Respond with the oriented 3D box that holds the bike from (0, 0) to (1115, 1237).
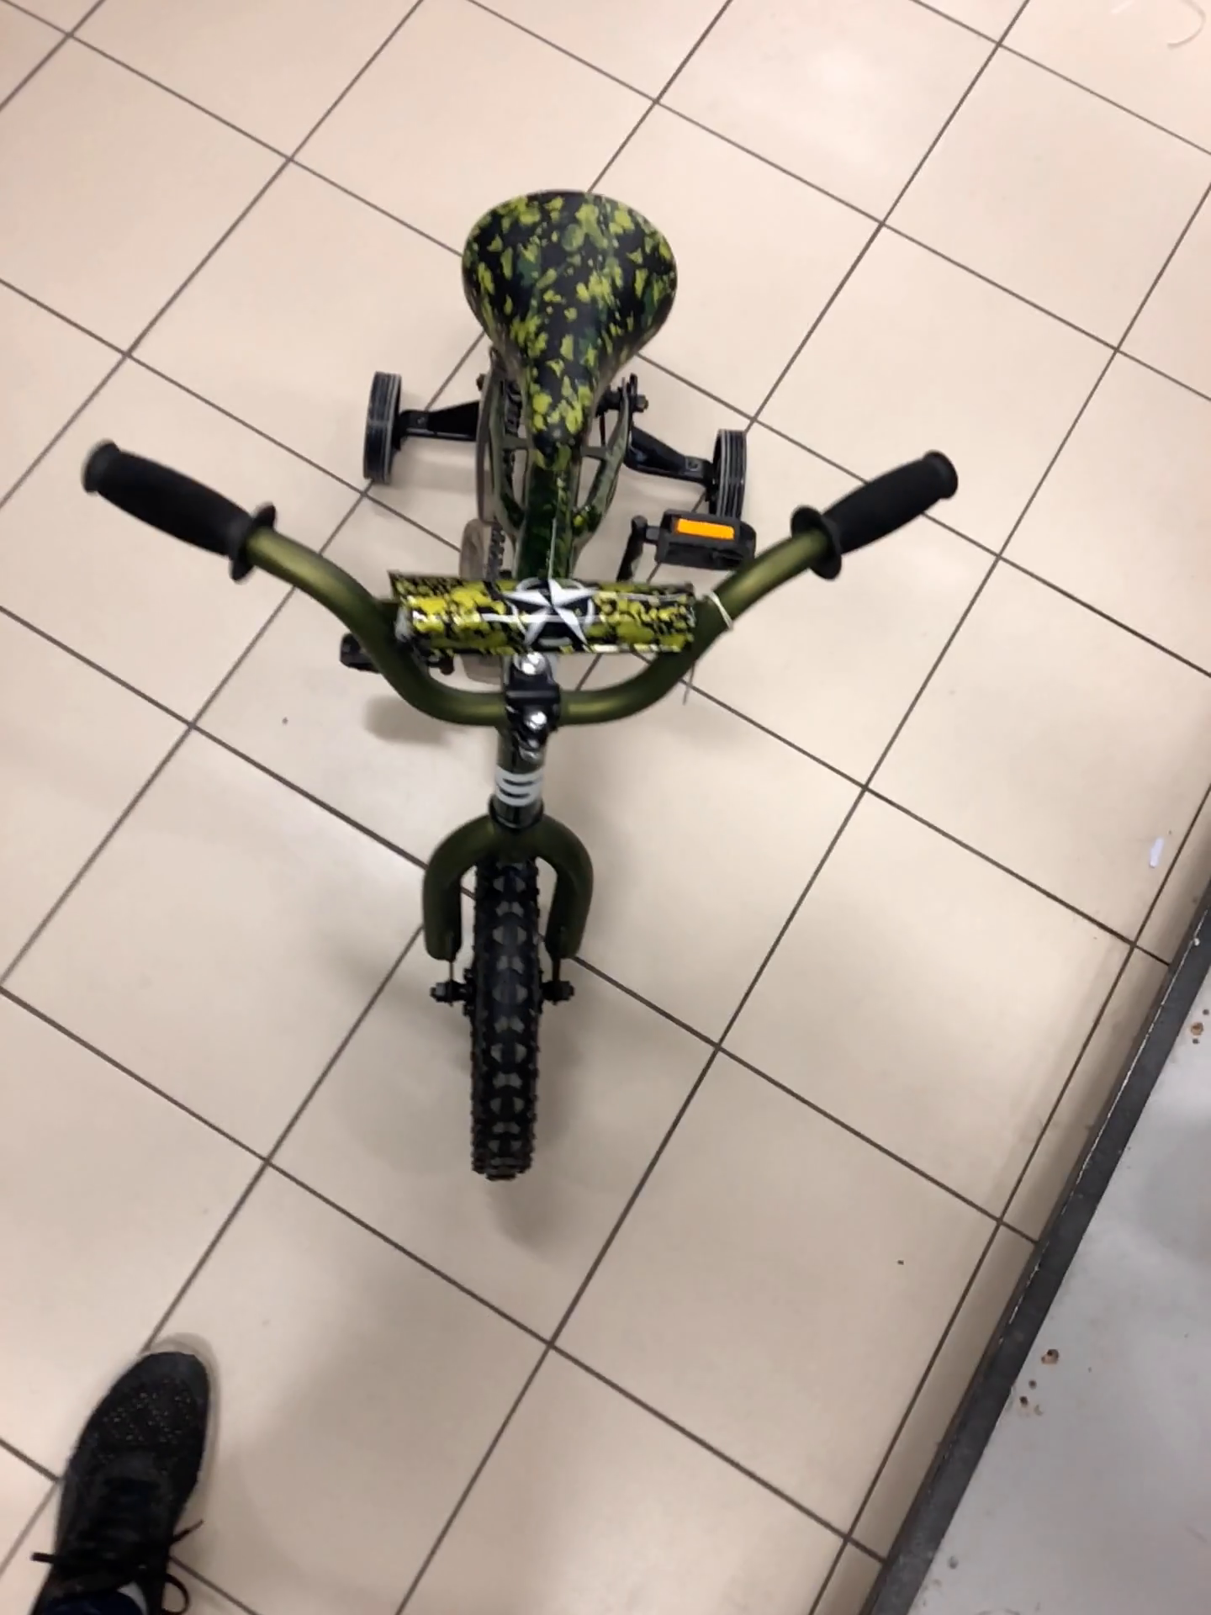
[{"bbox_3d":[-0.034,-0.144,0.987,0.532,0.559,0.817,4,72,-2],"label":"bike"}]
